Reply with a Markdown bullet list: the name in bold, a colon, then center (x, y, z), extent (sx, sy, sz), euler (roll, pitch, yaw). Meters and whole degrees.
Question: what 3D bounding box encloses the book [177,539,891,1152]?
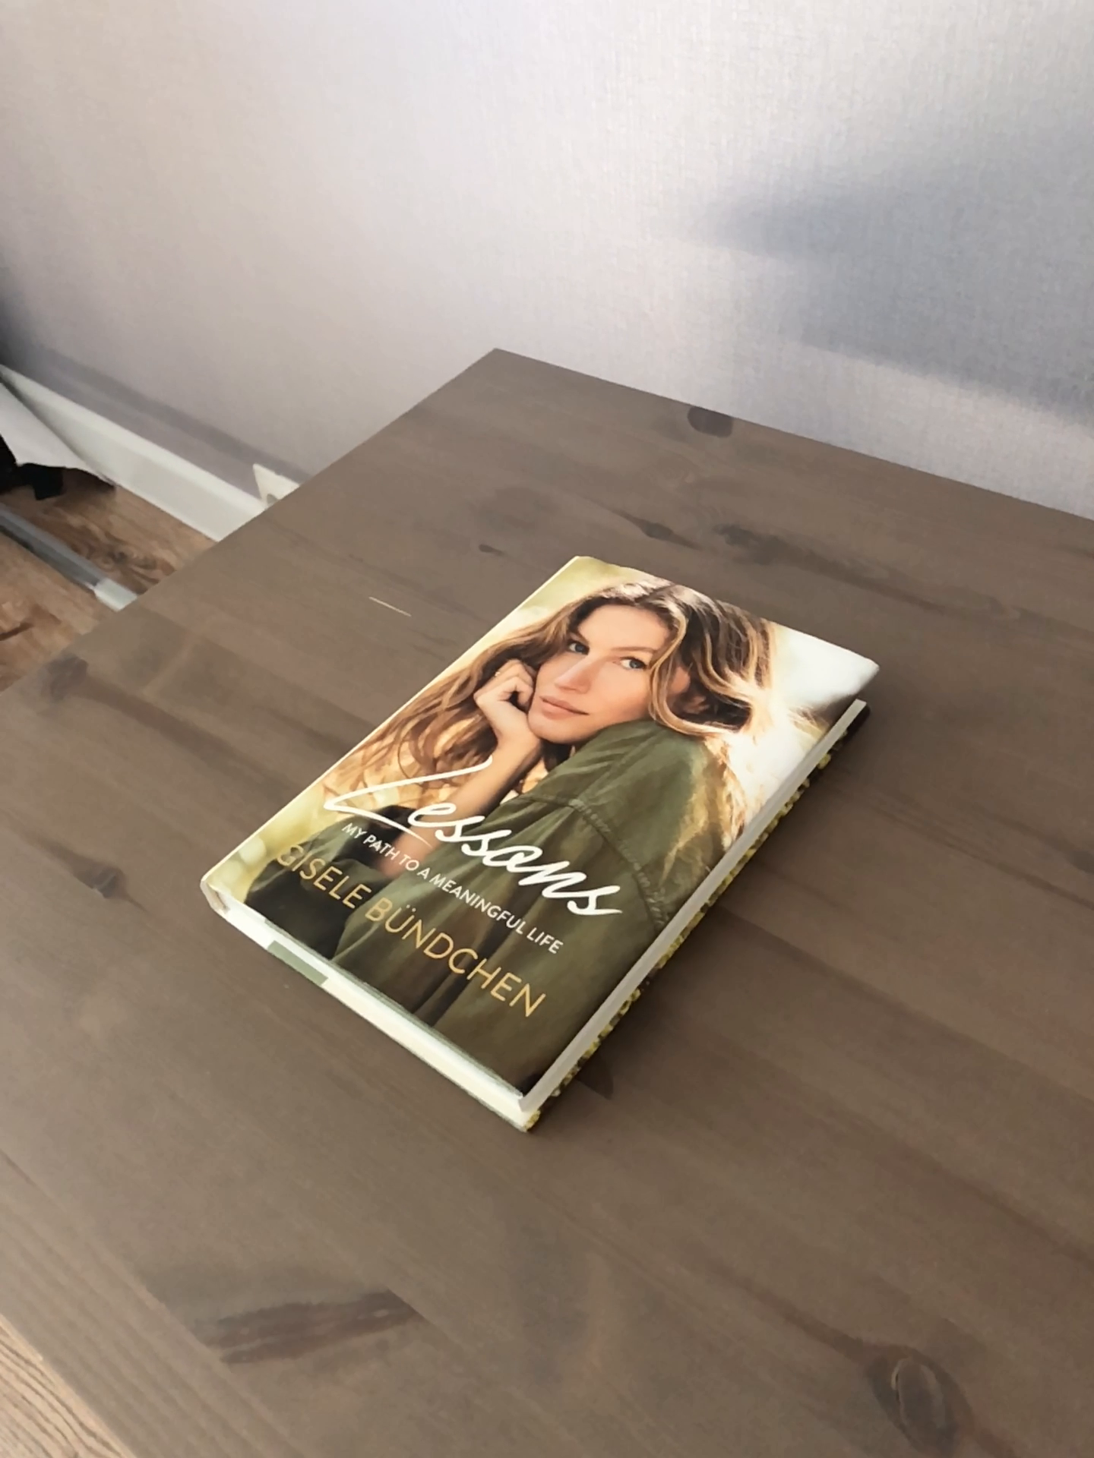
- **book**: center (0.002, 0.022, 0.462), extent (0.160, 0.030, 0.228), euler (26, 53, 29)
